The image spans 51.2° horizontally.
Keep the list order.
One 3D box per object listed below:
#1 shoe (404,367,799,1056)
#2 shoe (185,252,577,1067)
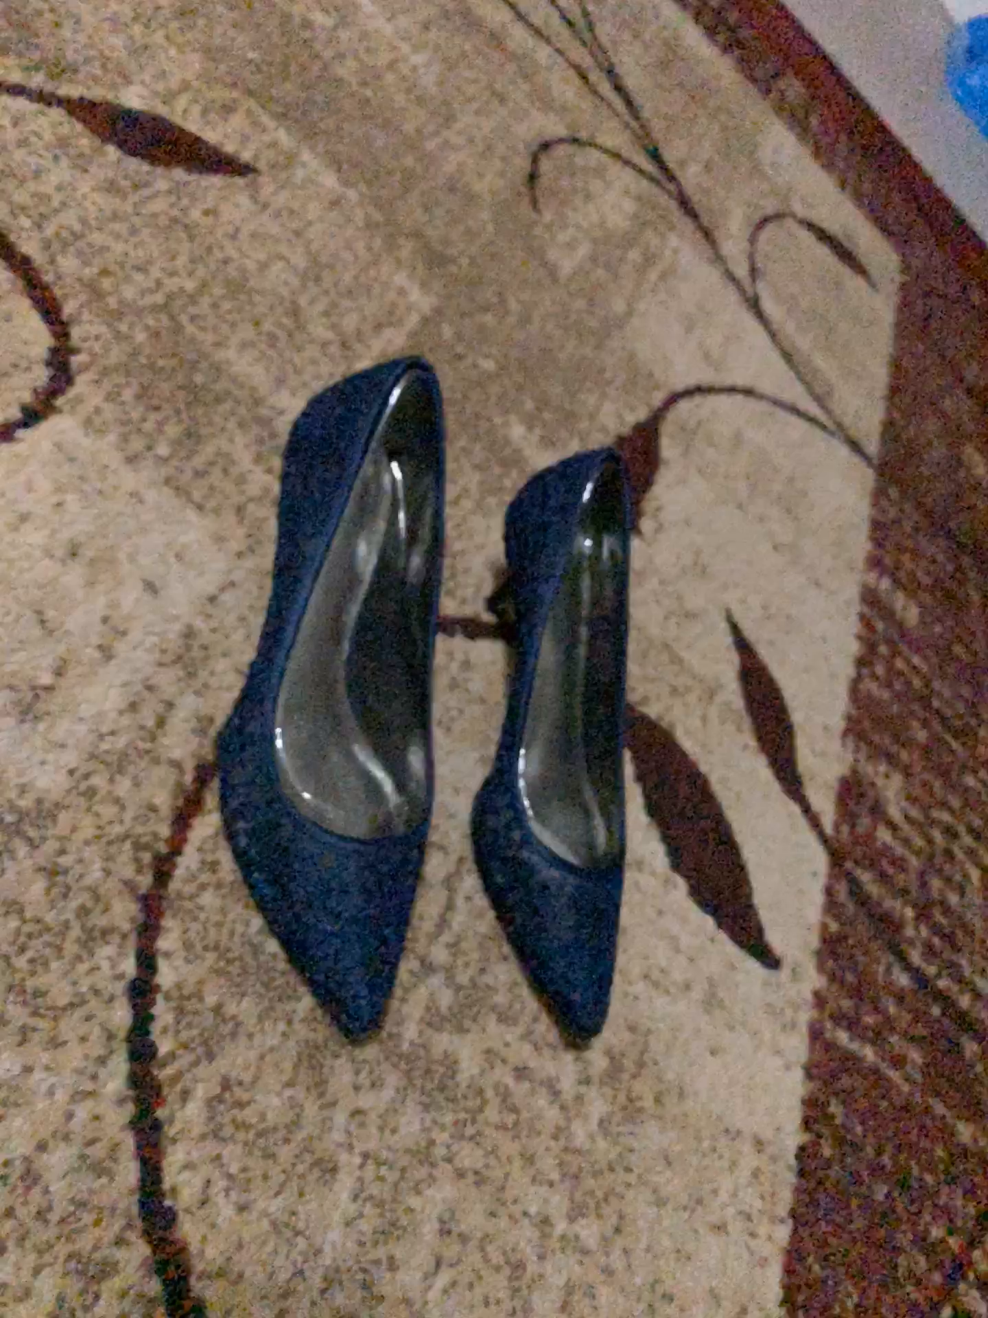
[{"bbox_3d":[0.037,0.019,0.469,0.088,0.088,0.284,9,60,-37],"label":"shoe"},{"bbox_3d":[-0.056,-0.006,0.407,0.088,0.088,0.293,9,60,-37],"label":"shoe"}]
